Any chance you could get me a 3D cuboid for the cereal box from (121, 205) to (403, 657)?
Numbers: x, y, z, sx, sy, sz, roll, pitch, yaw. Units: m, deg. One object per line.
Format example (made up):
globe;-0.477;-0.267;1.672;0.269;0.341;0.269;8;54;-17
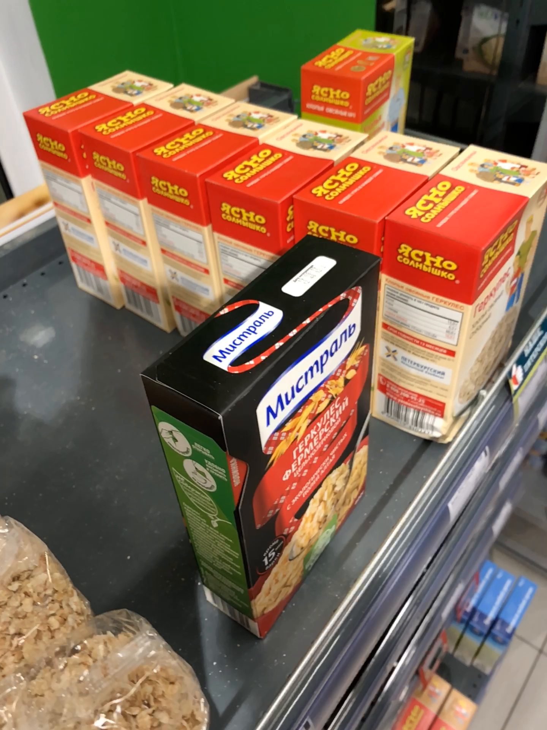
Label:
cereal box;0.006;0.046;0.340;0.050;0.219;0.140;25;51;26
